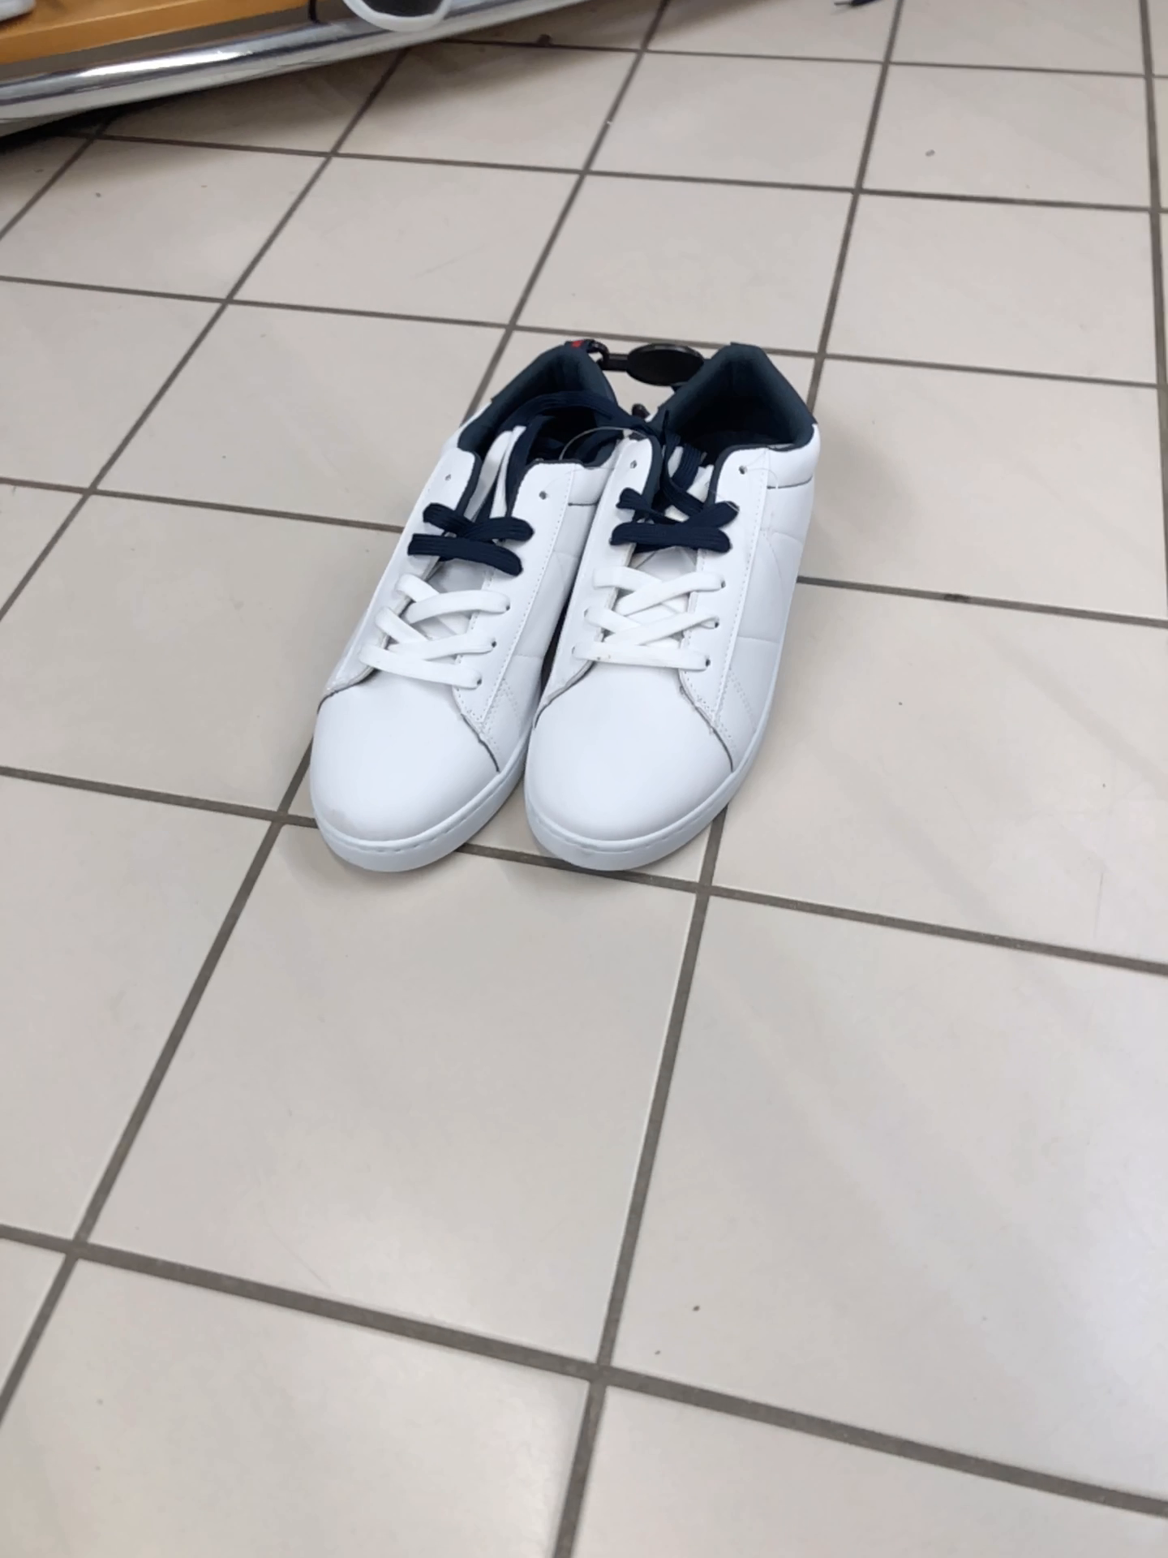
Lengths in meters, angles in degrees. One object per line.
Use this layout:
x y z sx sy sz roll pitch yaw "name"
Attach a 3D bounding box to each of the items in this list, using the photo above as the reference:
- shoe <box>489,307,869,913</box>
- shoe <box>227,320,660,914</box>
0.056 -0.094 0.609 0.100 0.099 0.292 12 53 13 "shoe"
-0.049 -0.092 0.623 0.100 0.099 0.292 12 53 13 "shoe"
